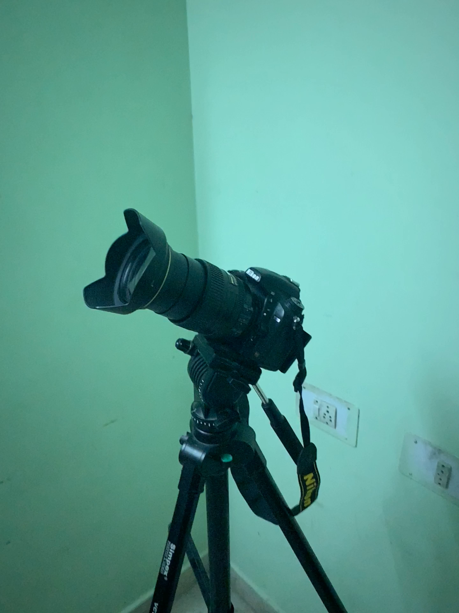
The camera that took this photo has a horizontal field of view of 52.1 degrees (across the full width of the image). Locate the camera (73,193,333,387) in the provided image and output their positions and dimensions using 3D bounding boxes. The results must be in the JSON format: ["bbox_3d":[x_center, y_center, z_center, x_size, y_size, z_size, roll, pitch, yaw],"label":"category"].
[{"bbox_3d":[-0.033,-0.017,0.566,0.248,0.120,0.152,20,11,-33],"label":"camera"}]
